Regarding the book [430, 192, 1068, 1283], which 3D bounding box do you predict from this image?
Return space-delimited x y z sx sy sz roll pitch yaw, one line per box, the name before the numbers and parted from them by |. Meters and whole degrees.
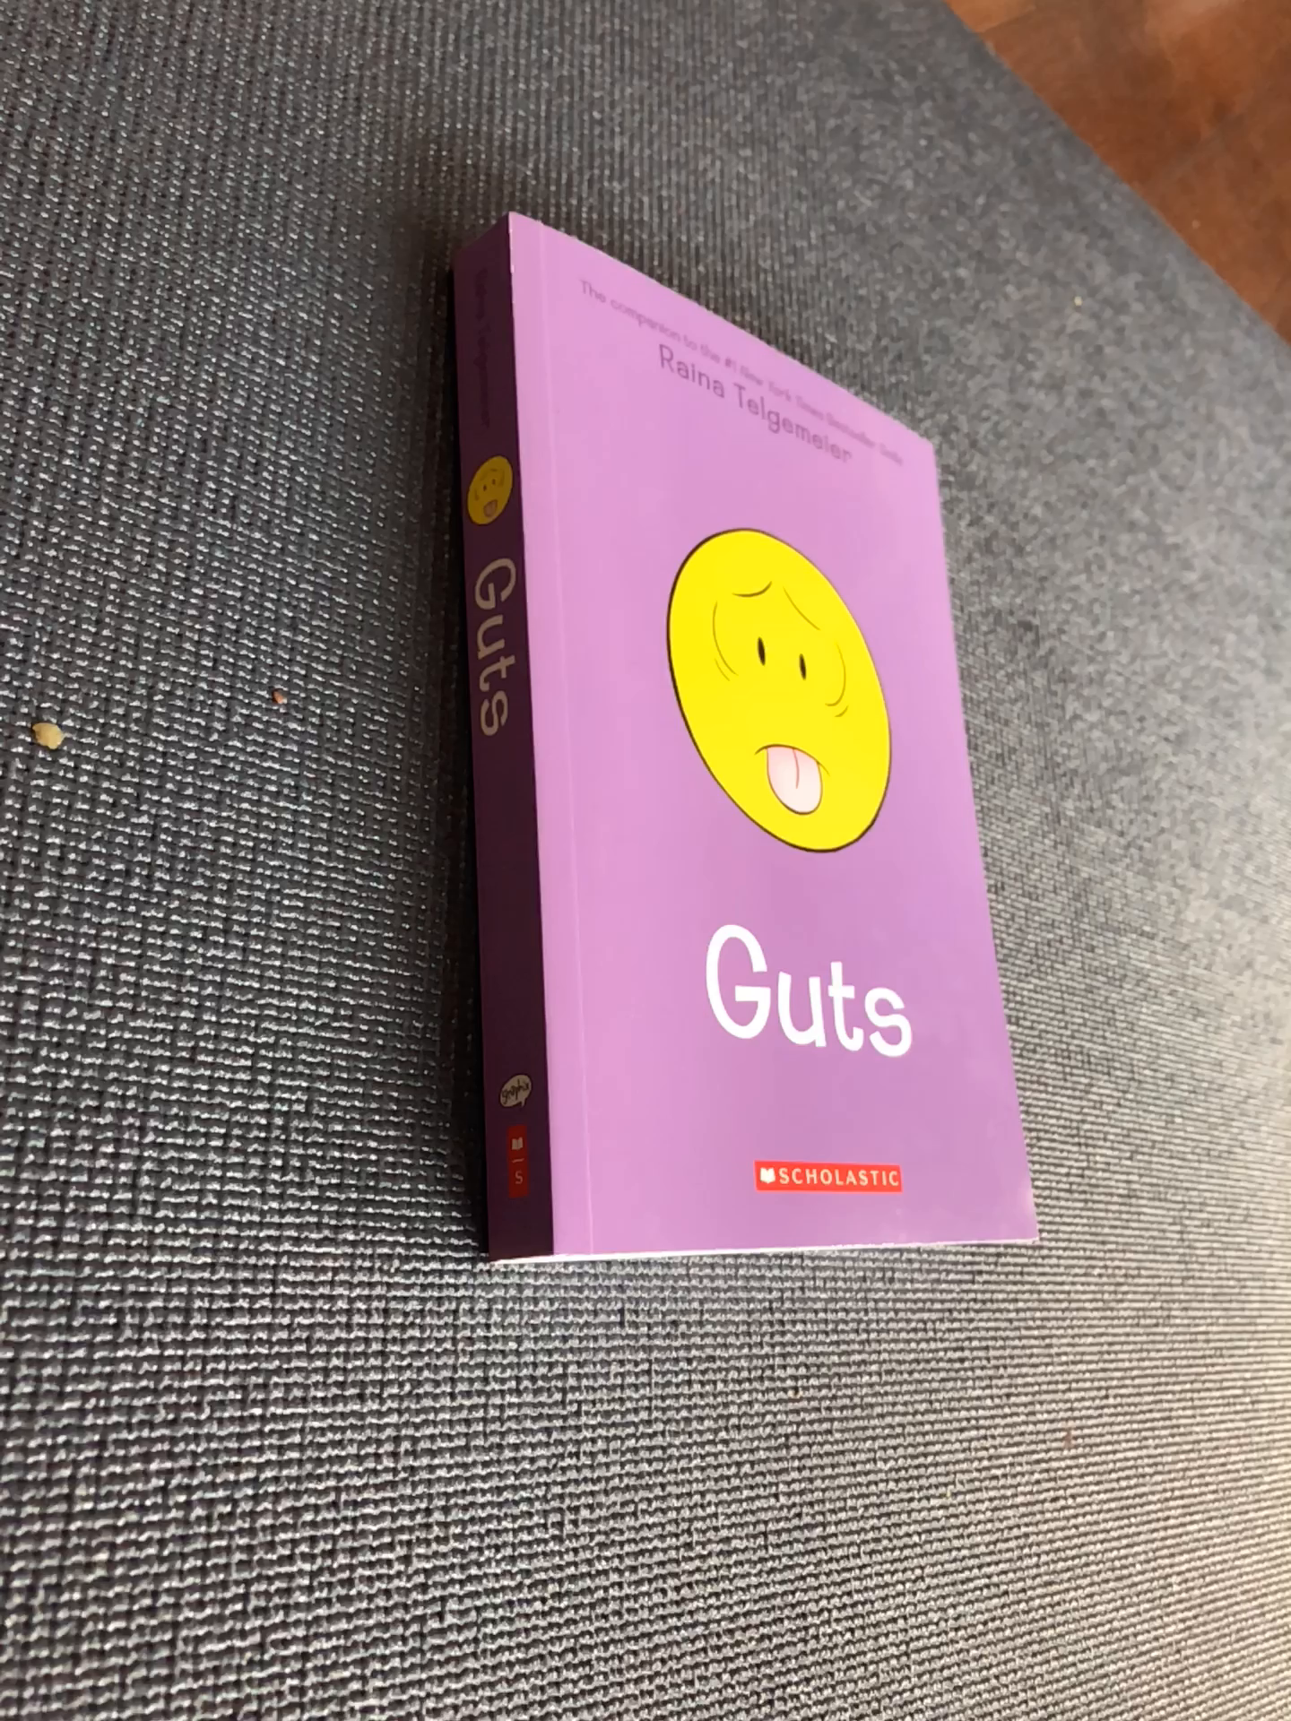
book | 0.024 -0.019 0.305 0.144 0.024 0.202 12 66 -42
